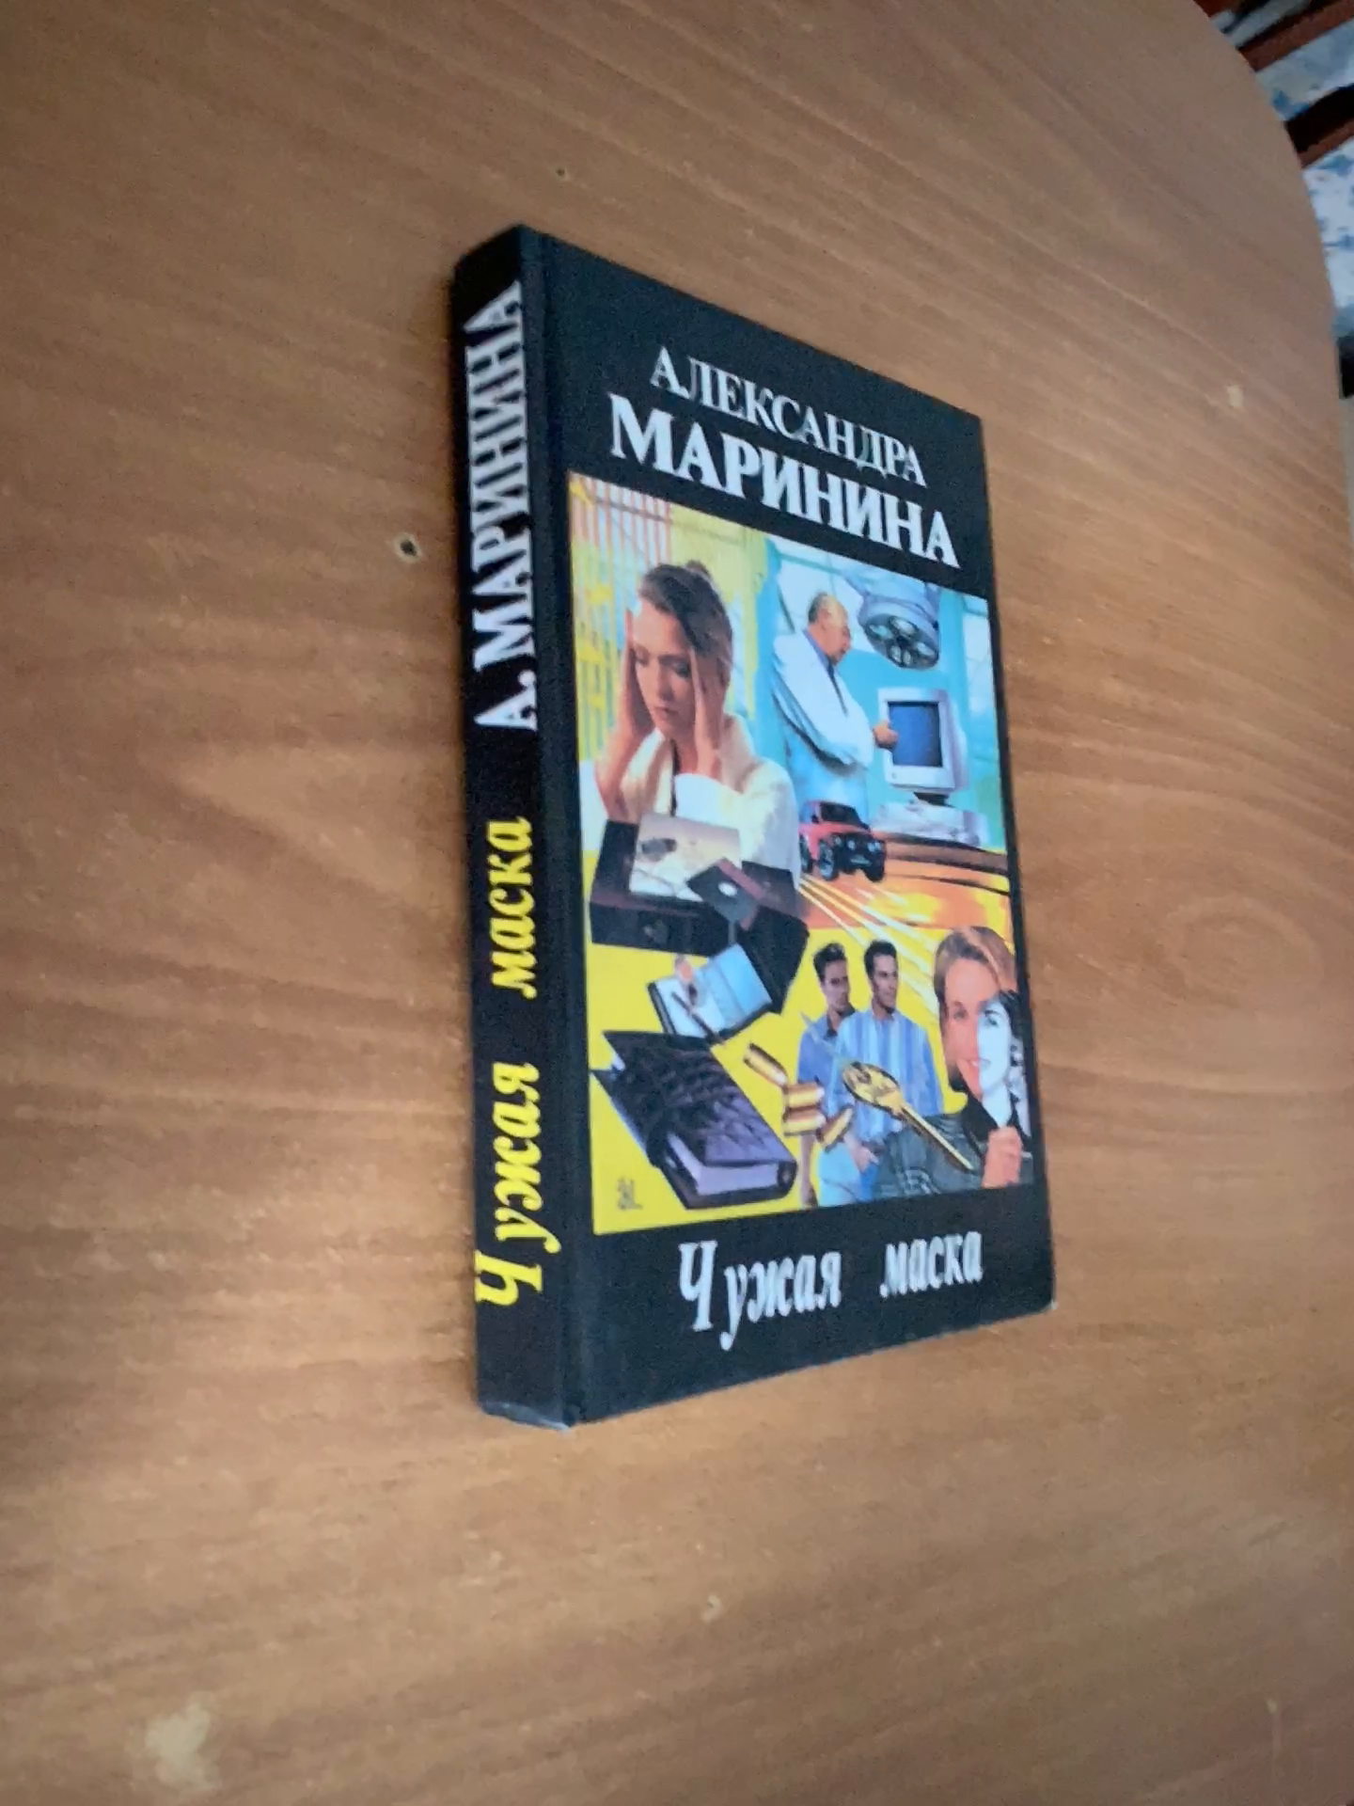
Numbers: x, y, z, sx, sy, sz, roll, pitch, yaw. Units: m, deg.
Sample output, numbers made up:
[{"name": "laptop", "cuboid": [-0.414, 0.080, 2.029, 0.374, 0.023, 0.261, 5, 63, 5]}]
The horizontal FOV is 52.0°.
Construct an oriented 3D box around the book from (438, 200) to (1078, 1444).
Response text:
[{"name": "book", "cuboid": [0.020, -0.014, 0.272, 0.131, 0.030, 0.200, 4, 80, -40]}]
